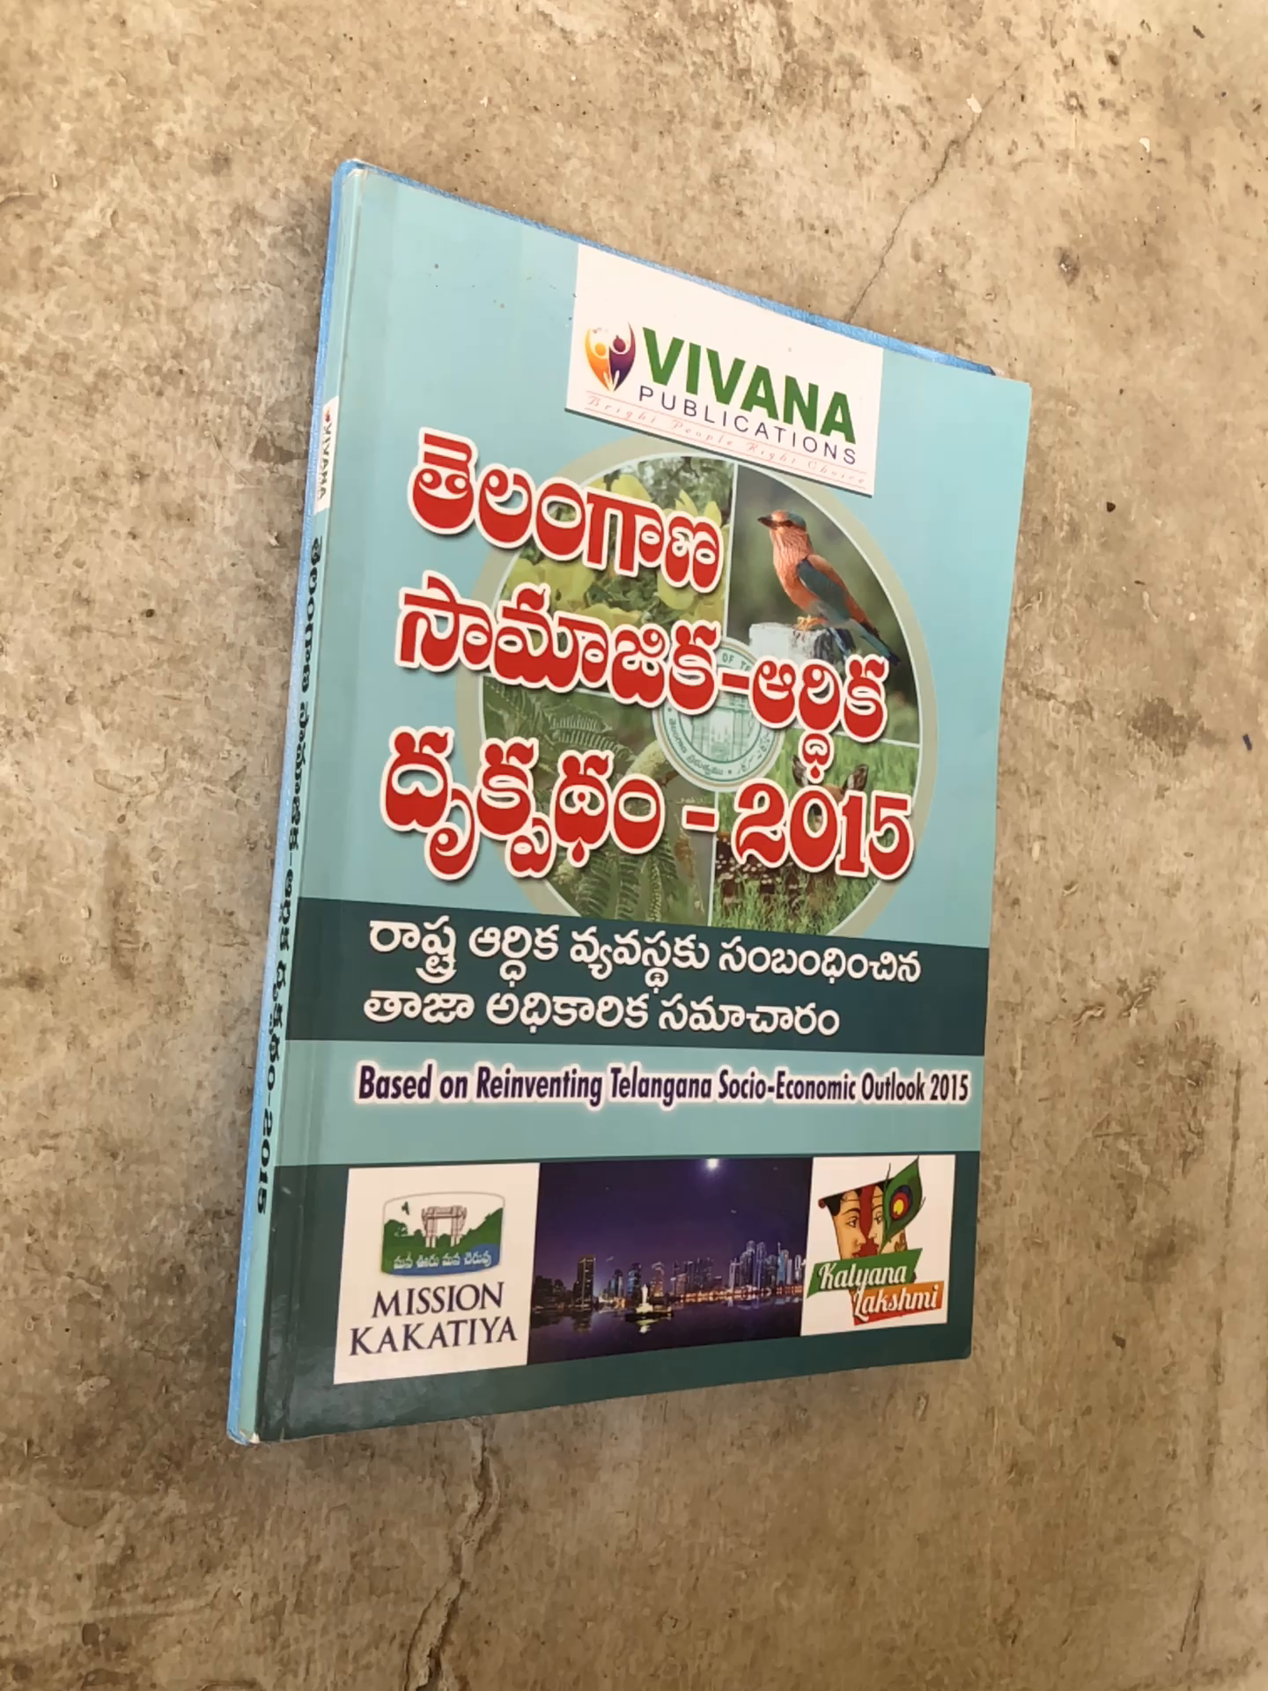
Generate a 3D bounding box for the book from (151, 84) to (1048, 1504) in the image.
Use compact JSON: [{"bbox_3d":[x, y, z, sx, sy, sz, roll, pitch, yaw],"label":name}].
[{"bbox_3d":[0.007,-0.005,0.328,0.201,0.030,0.270,6,85,-29],"label":"book"}]
